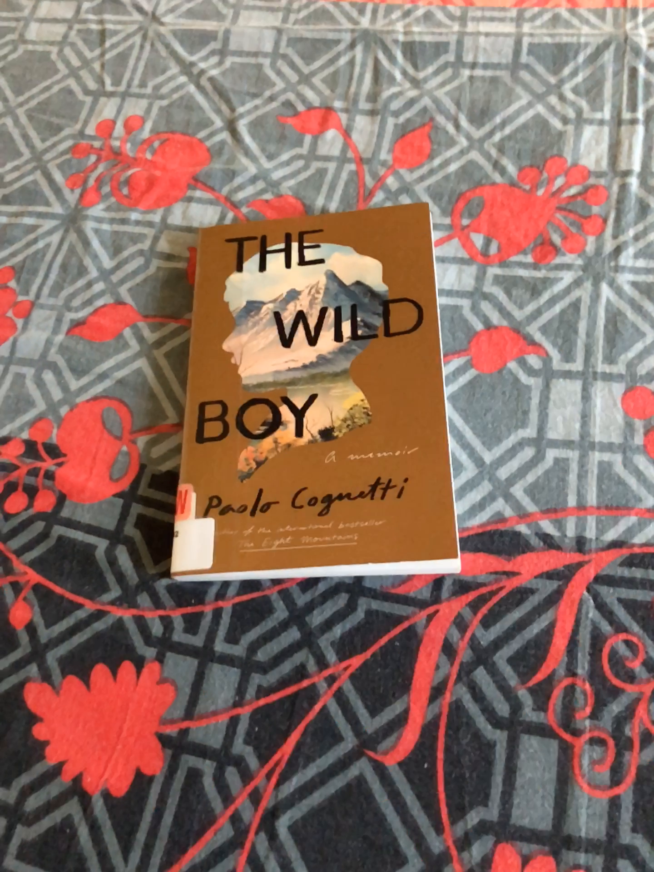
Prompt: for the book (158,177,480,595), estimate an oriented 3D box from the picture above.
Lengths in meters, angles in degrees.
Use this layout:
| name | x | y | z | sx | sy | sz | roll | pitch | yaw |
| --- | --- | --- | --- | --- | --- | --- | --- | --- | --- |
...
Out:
| name | x | y | z | sx | sy | sz | roll | pitch | yaw |
| --- | --- | --- | --- | --- | --- | --- | --- | --- | --- |
| book | -0.005 | -0.034 | 0.394 | 0.150 | 0.030 | 0.230 | -5 | 64 | 9 |
